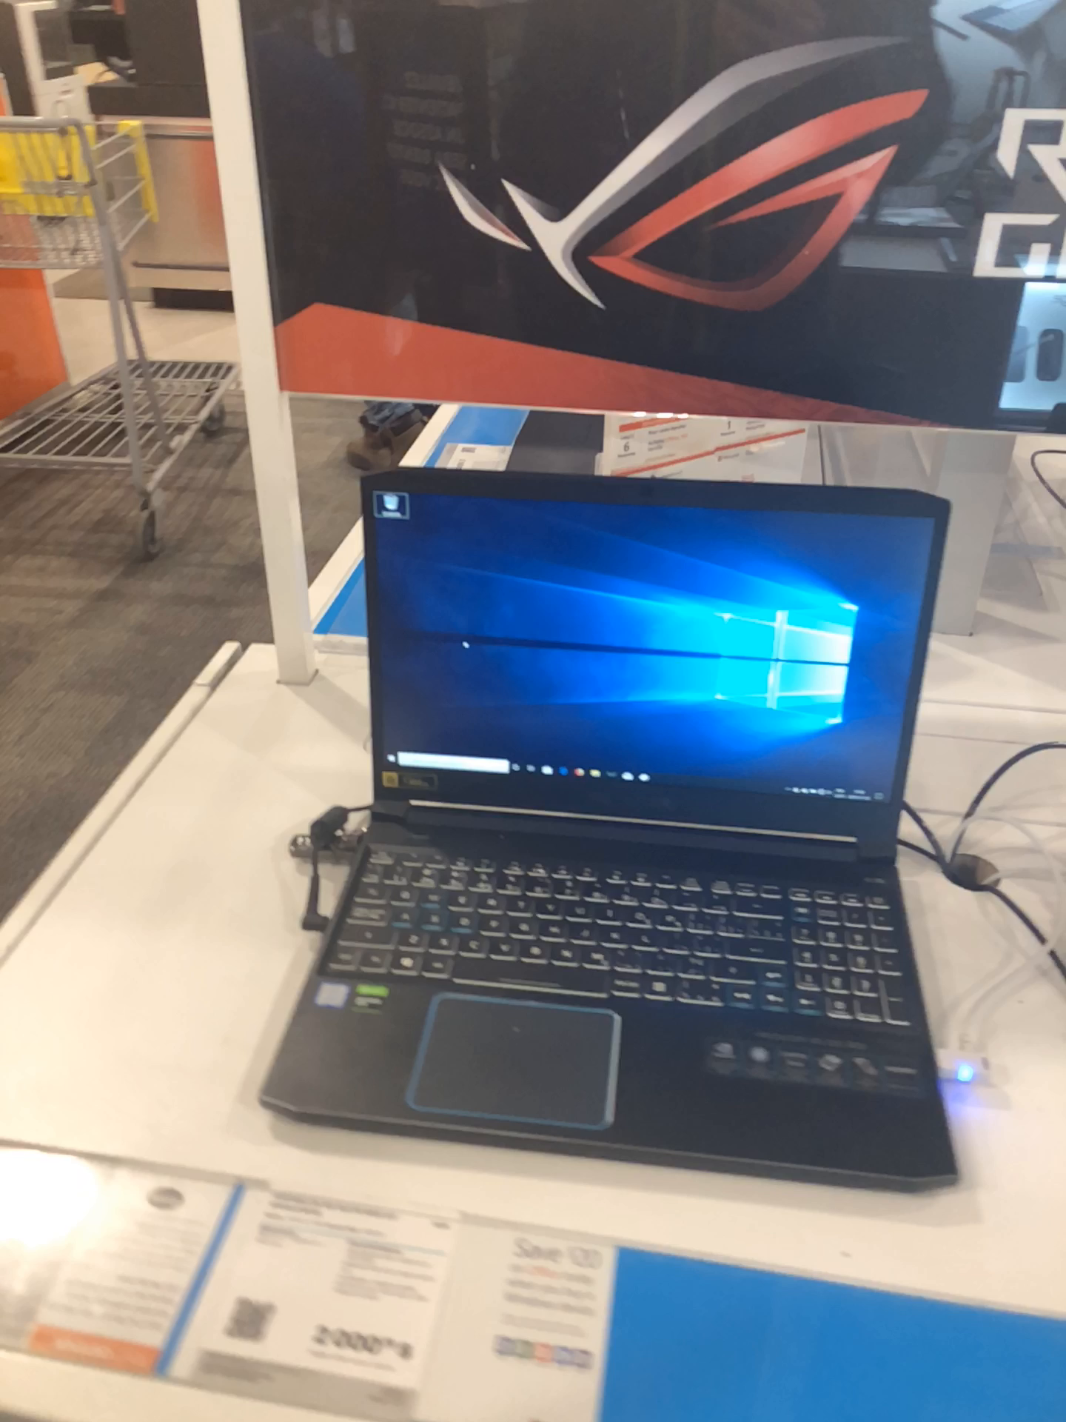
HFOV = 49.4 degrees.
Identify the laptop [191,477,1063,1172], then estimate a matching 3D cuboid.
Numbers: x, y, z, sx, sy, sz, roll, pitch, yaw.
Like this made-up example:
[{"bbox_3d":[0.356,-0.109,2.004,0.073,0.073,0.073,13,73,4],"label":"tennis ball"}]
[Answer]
[{"bbox_3d":[0.050,0.041,0.637,0.348,0.230,0.274,4,34,7],"label":"laptop"}]
